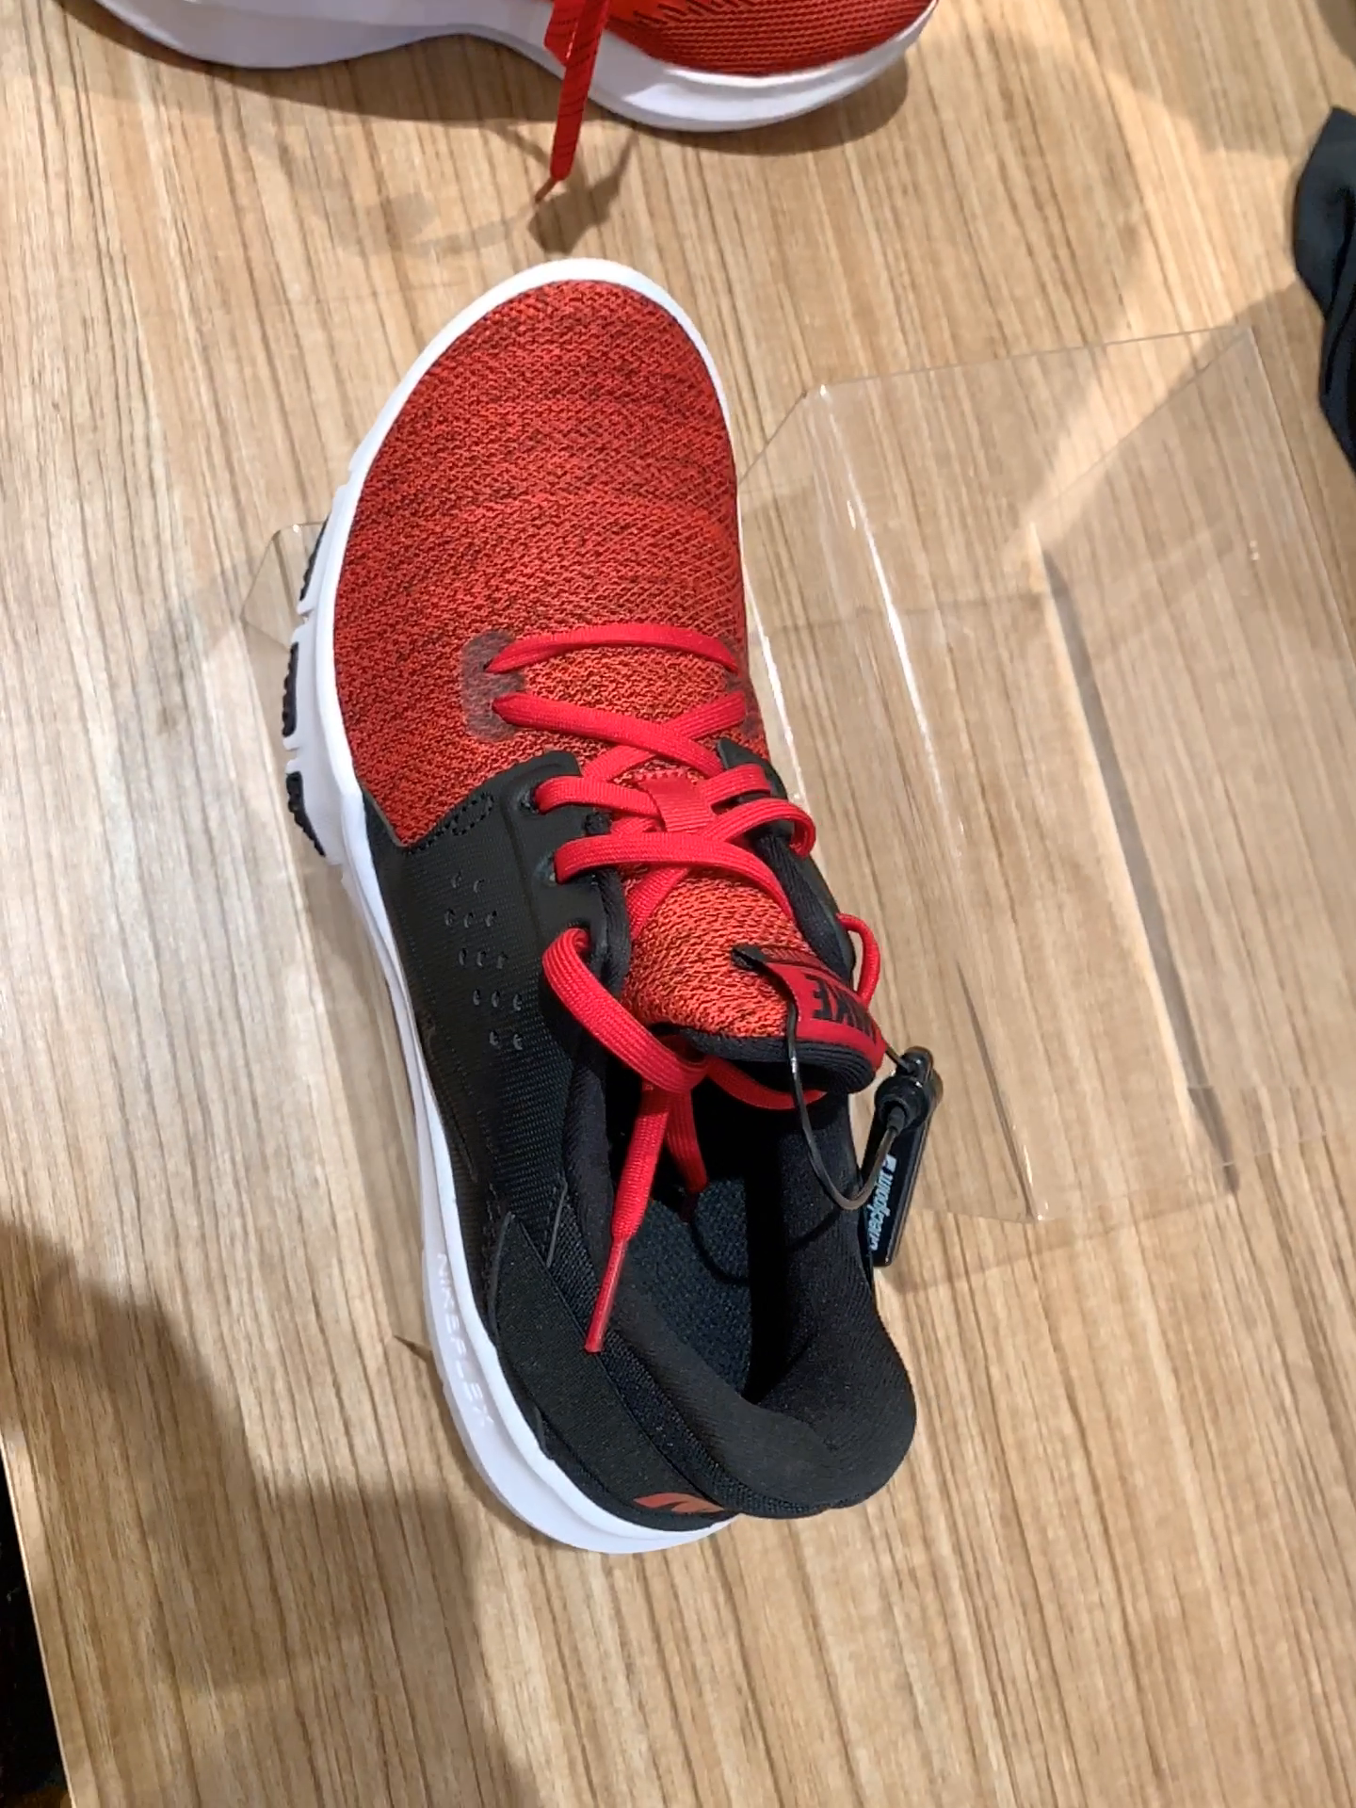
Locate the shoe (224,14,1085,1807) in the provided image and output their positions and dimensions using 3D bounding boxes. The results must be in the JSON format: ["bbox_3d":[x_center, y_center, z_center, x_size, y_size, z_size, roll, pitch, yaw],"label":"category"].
[{"bbox_3d":[-0.015,-0.009,0.279,0.110,0.080,0.290,-6,83,-20],"label":"shoe"}]
